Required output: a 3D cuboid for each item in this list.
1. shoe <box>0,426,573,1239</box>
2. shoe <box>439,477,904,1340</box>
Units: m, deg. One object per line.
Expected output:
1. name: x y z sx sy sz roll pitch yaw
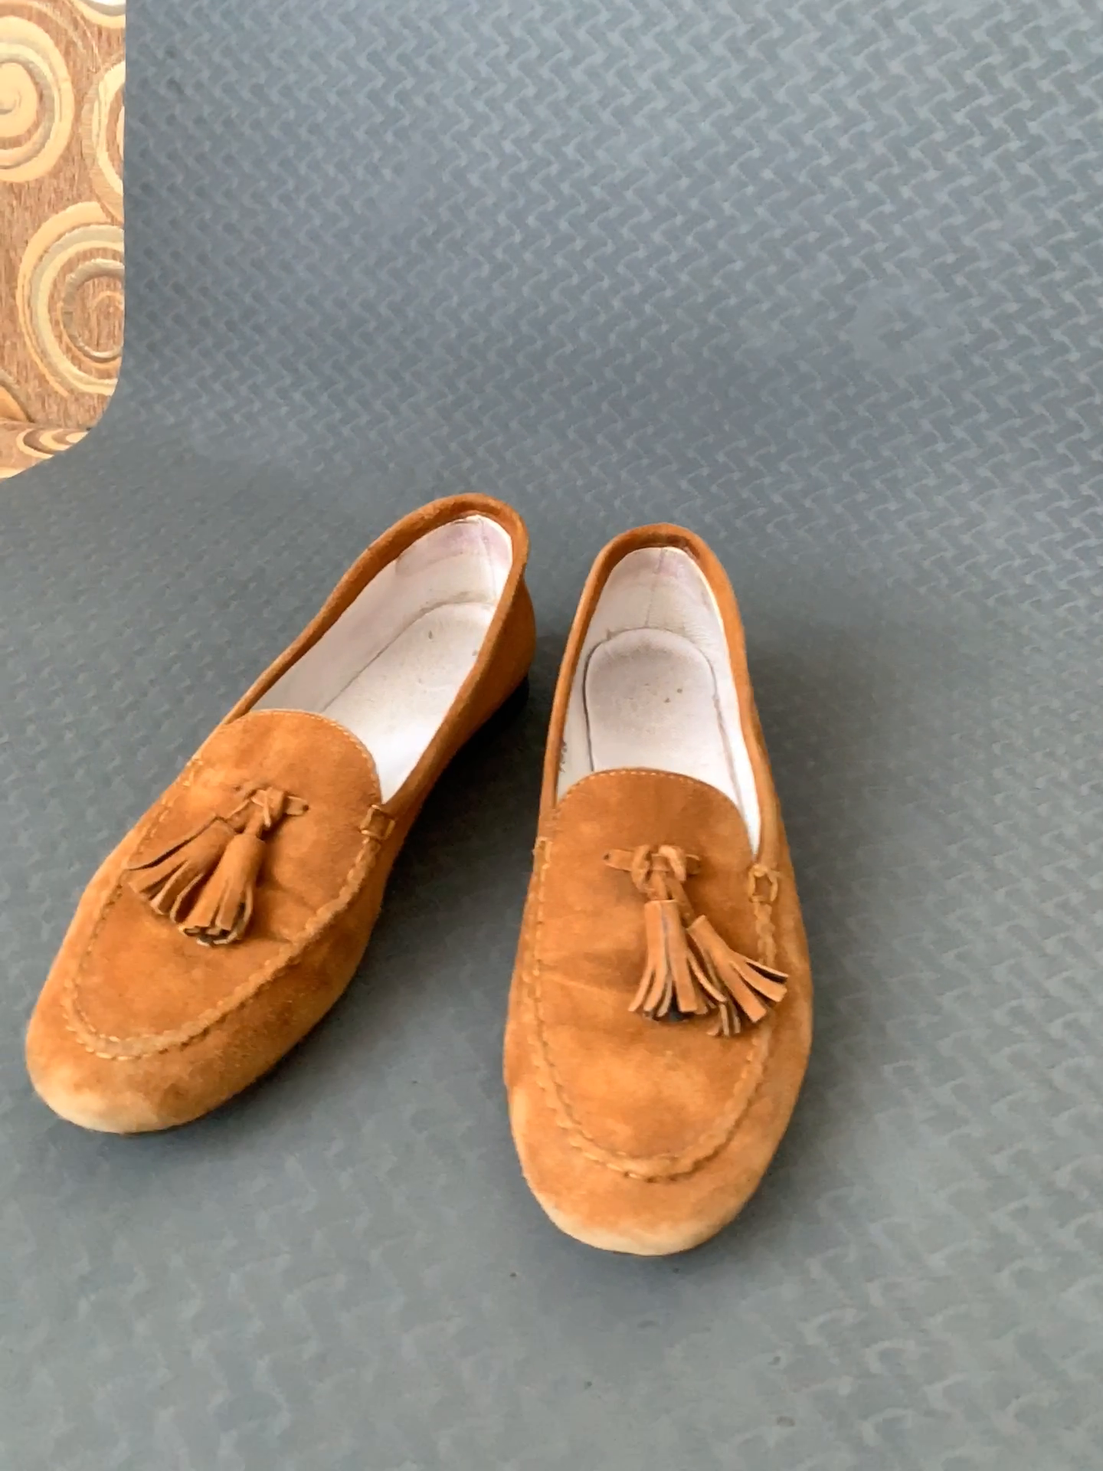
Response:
1. shoe: -0.082 0.008 0.342 0.090 0.090 0.231 18 46 16
2. shoe: 0.035 0.029 0.337 0.090 0.090 0.241 6 44 4
